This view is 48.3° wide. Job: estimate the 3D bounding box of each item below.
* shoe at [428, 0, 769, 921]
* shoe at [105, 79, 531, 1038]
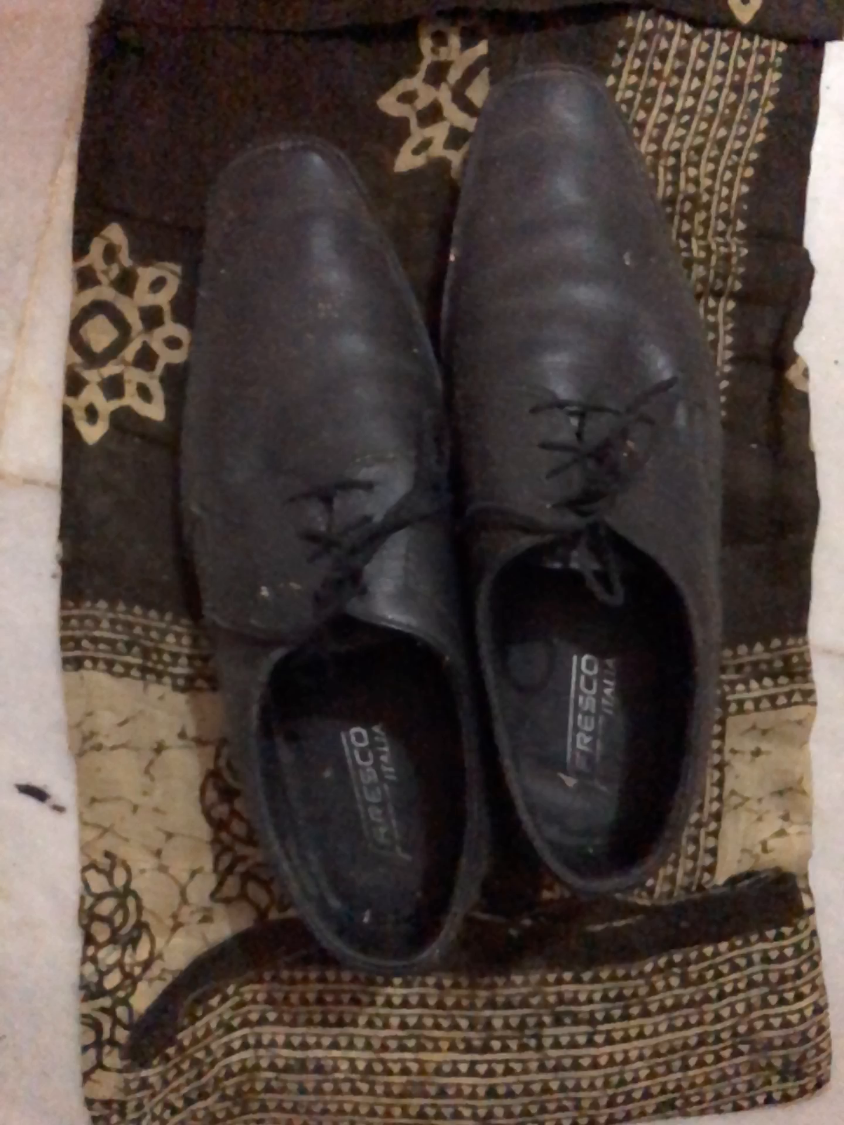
[{"bbox_3d":[0.065,-0.042,0.377,0.110,0.070,0.340,-2,90,0],"label":"shoe"},{"bbox_3d":[-0.038,-0.001,0.380,0.110,0.070,0.340,-8,90,0],"label":"shoe"}]
